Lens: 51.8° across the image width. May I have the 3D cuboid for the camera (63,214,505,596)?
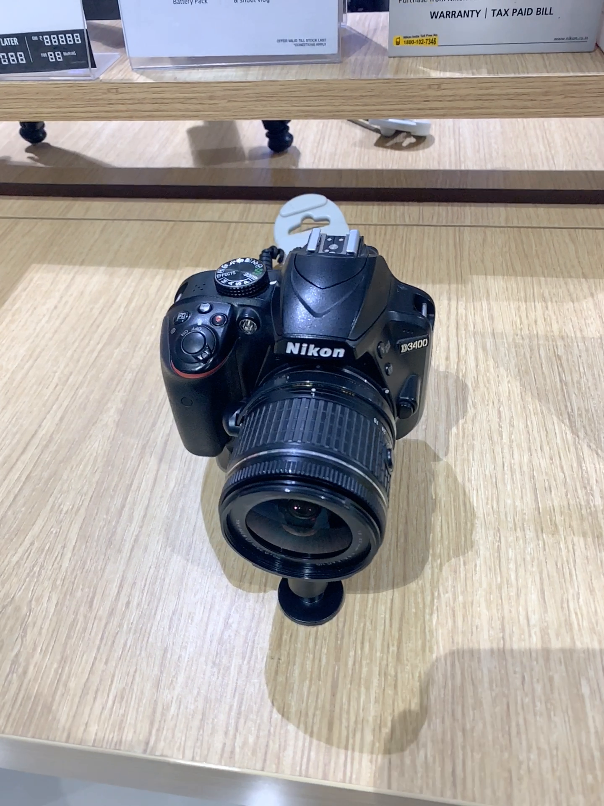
[{"bbox_3d":[0.001,-0.004,0.213,0.110,0.073,0.100,4,46,6],"label":"camera"}]
